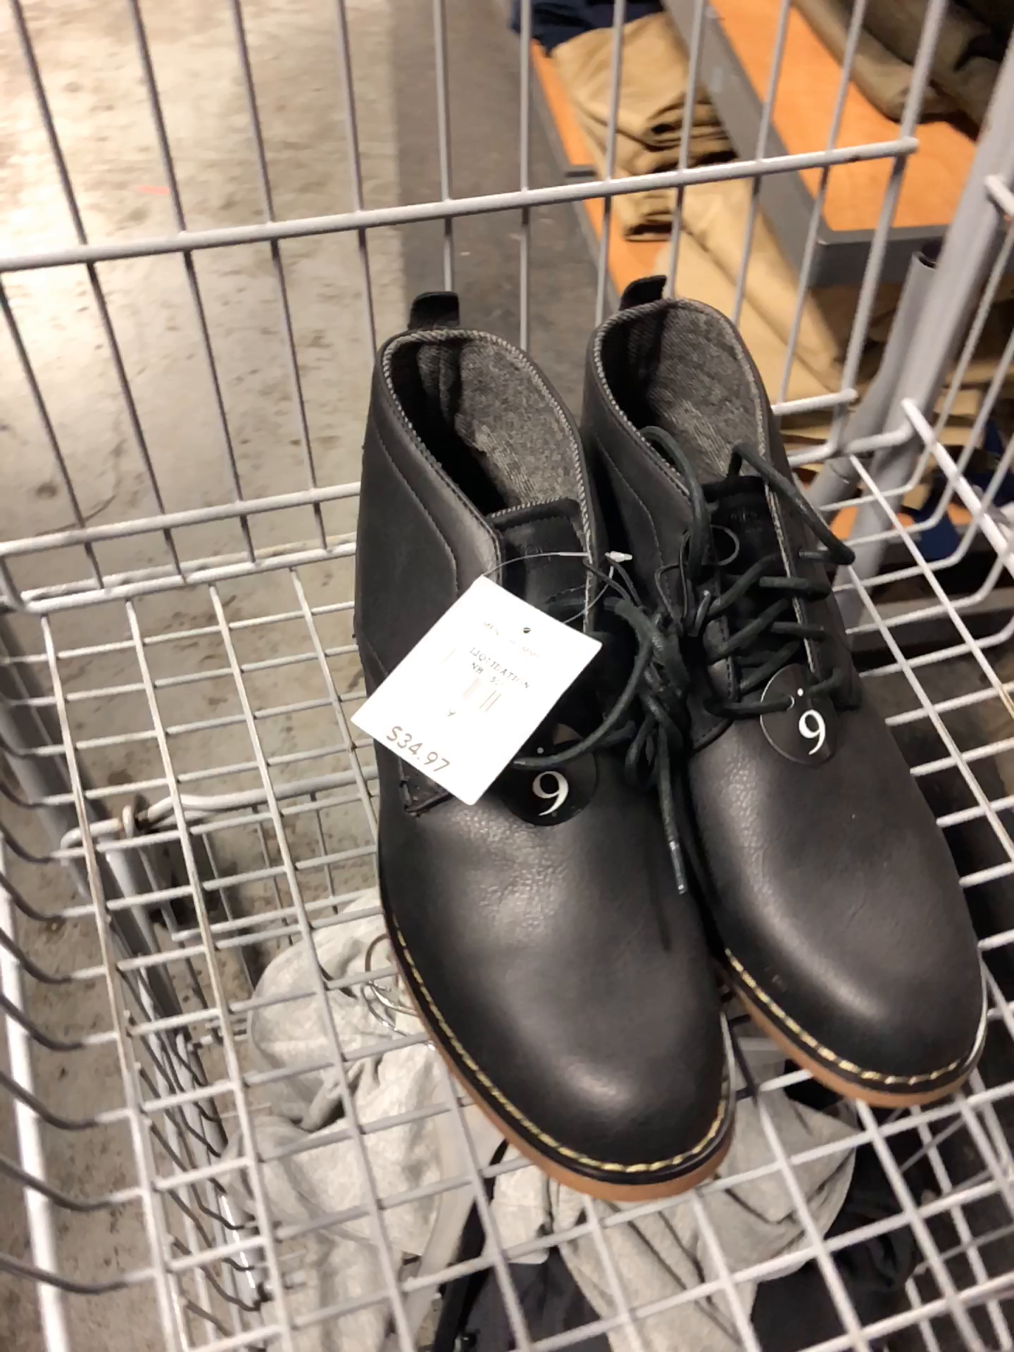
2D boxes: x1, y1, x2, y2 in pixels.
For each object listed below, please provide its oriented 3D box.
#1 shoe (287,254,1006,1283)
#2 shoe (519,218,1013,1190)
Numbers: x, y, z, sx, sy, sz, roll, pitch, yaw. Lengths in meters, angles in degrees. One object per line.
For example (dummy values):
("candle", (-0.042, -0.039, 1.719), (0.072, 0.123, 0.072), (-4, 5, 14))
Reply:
("shoe", (0.011, 0.034, 0.367), (0.100, 0.199, 0.261), (-12, 59, -12))
("shoe", (0.099, 0.013, 0.400), (0.100, 0.199, 0.271), (-12, 59, -12))
